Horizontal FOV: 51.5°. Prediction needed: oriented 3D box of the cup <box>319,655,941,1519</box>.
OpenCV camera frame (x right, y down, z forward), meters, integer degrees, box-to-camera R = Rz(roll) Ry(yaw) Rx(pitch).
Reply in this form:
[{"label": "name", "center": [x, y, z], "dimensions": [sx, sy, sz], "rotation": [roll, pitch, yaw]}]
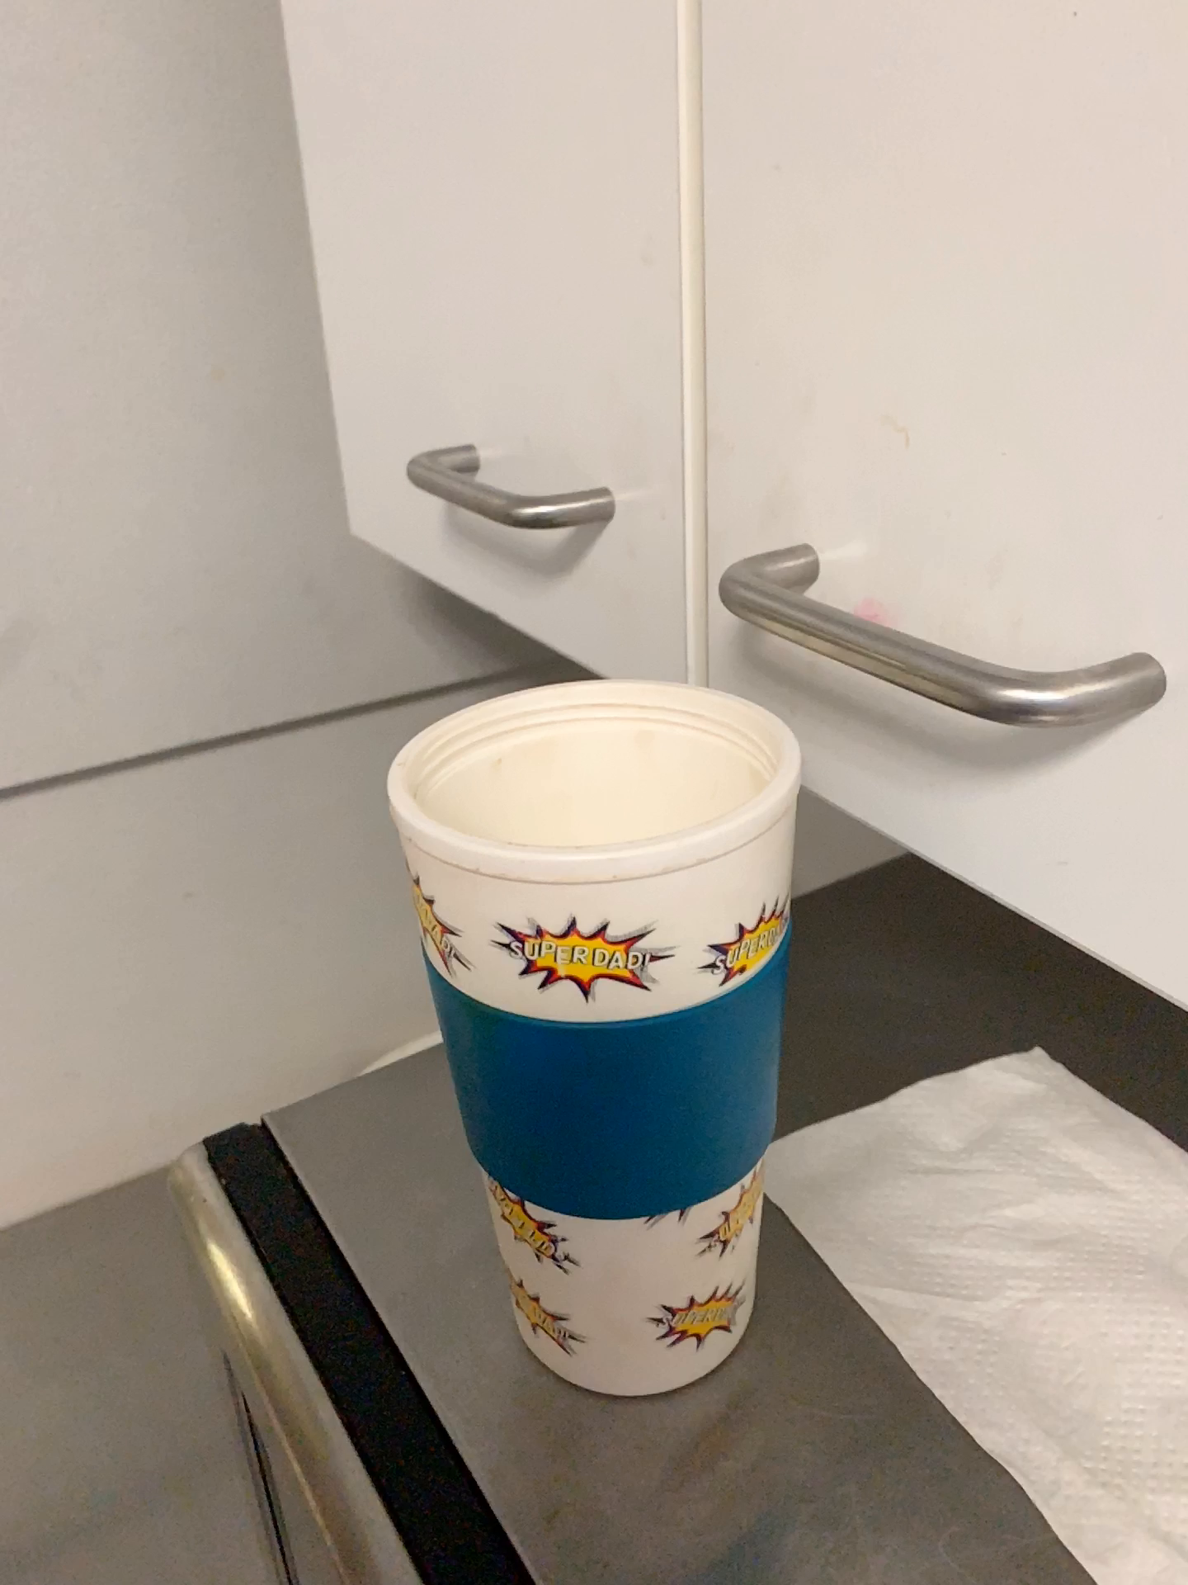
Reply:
[{"label": "cup", "center": [0.008, 0.059, 0.290], "dimensions": [0.096, 0.146, 0.093], "rotation": [-2, 24, 1]}]
